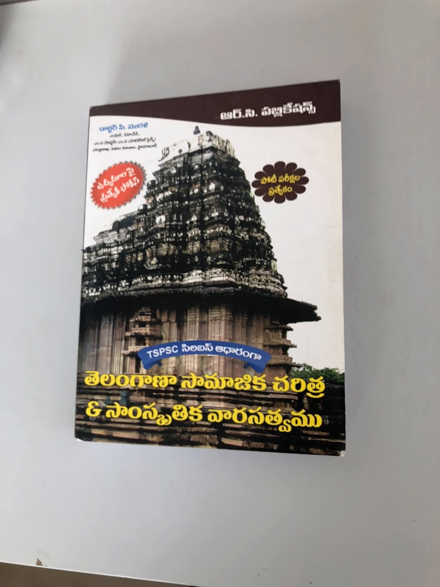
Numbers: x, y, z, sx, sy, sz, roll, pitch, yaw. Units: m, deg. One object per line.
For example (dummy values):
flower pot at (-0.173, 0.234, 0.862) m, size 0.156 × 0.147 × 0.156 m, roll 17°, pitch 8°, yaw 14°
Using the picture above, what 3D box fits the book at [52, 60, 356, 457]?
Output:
book at (-0.009, -0.023, 0.317) m, size 0.180 × 0.040 × 0.230 m, roll 0°, pitch 82°, yaw 12°
